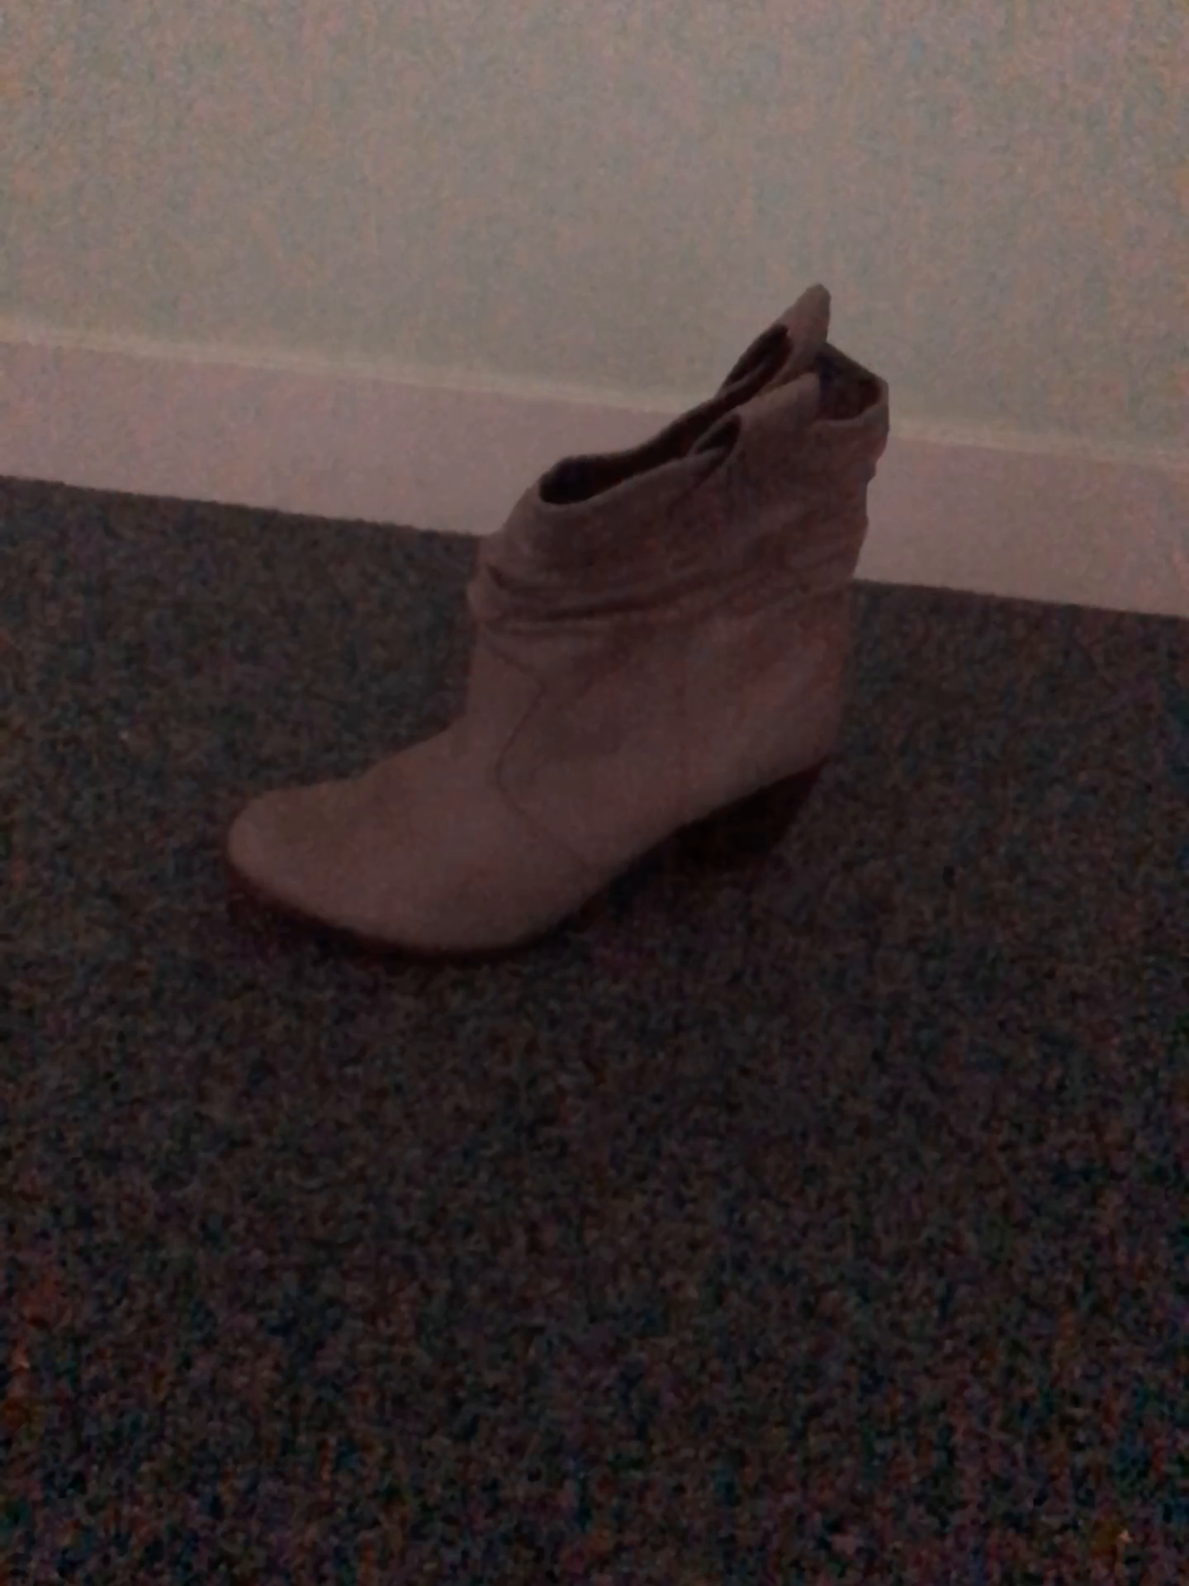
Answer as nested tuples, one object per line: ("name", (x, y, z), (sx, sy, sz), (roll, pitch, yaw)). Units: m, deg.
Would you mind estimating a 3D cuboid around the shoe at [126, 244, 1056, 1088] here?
("shoe", (-0.011, -0.049, 0.444), (0.241, 0.219, 0.131), (-9, 38, -17))
